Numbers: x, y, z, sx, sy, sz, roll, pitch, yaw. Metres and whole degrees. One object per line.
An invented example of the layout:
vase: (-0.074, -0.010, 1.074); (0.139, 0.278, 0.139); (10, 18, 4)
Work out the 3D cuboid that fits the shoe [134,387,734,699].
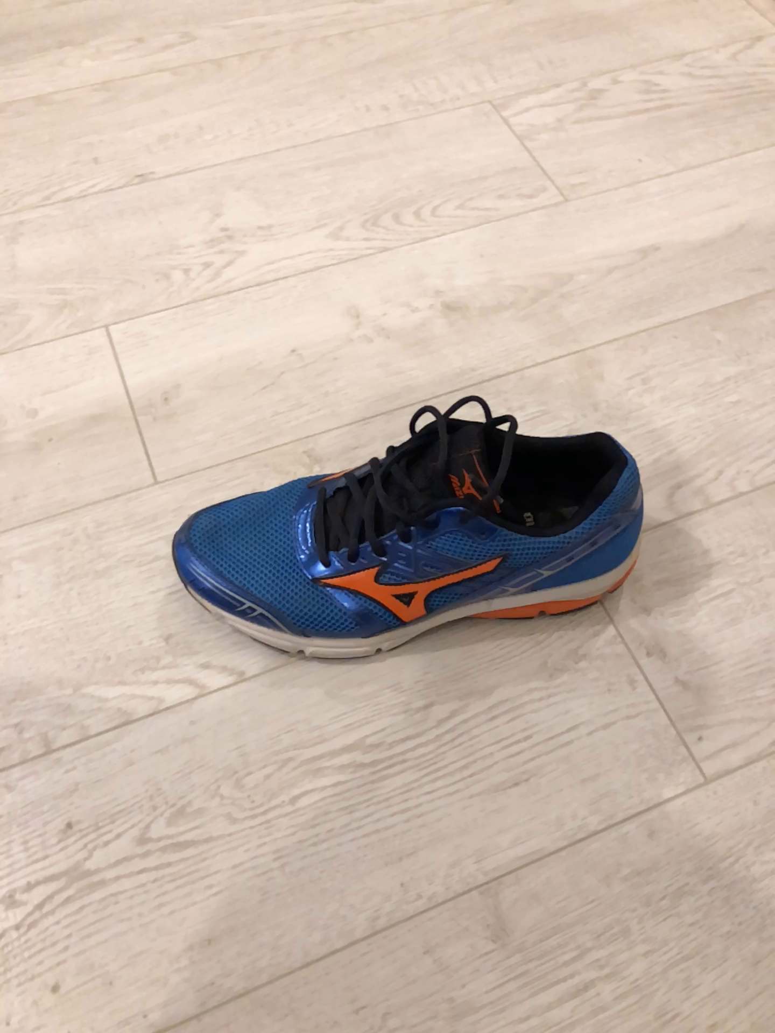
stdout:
shoe: (0.020, 0.017, 0.503); (0.300, 0.119, 0.117); (-5, 58, -4)
